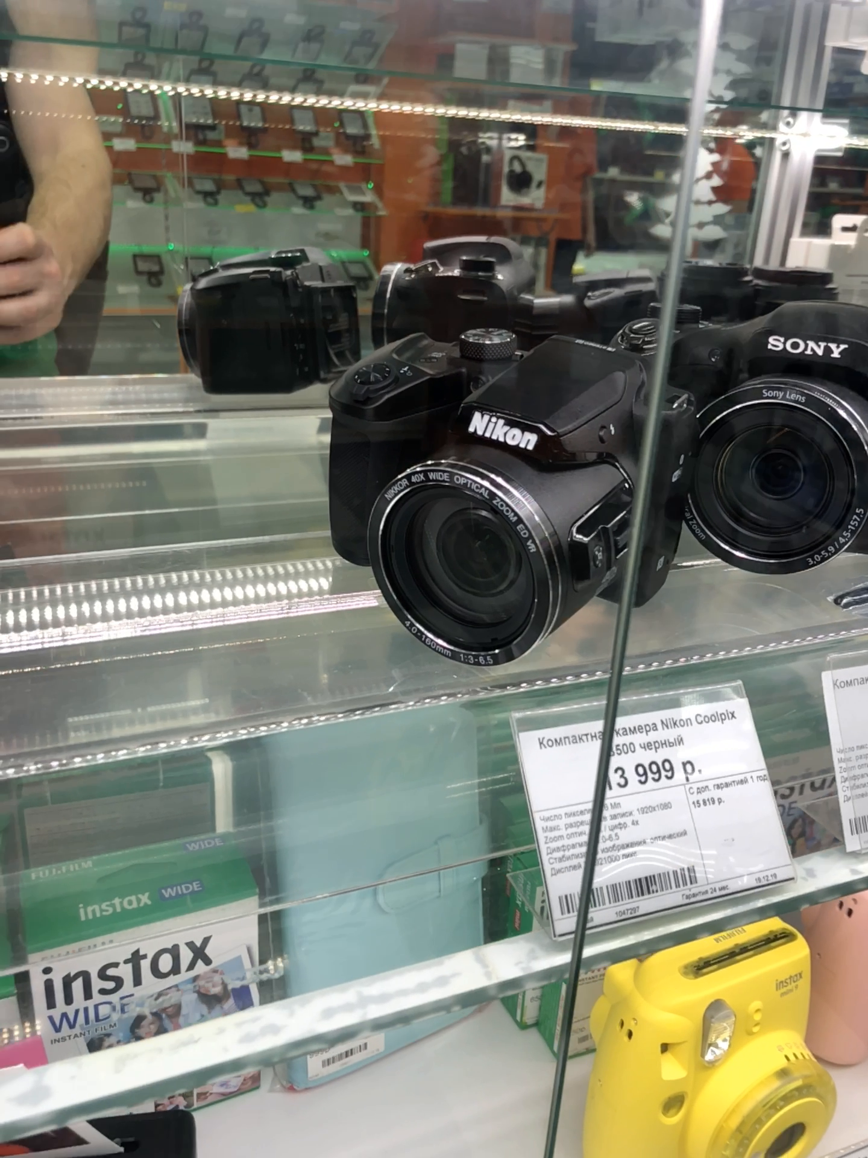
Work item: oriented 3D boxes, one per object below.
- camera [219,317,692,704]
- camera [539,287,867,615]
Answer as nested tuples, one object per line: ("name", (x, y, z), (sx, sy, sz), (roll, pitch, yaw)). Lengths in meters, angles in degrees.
("camera", (0.008, -0.032, 0.303), (0.110, 0.080, 0.098), (15, 24, 25))
("camera", (0.114, -0.056, 0.357), (0.114, 0.084, 0.099), (13, 26, 27))
